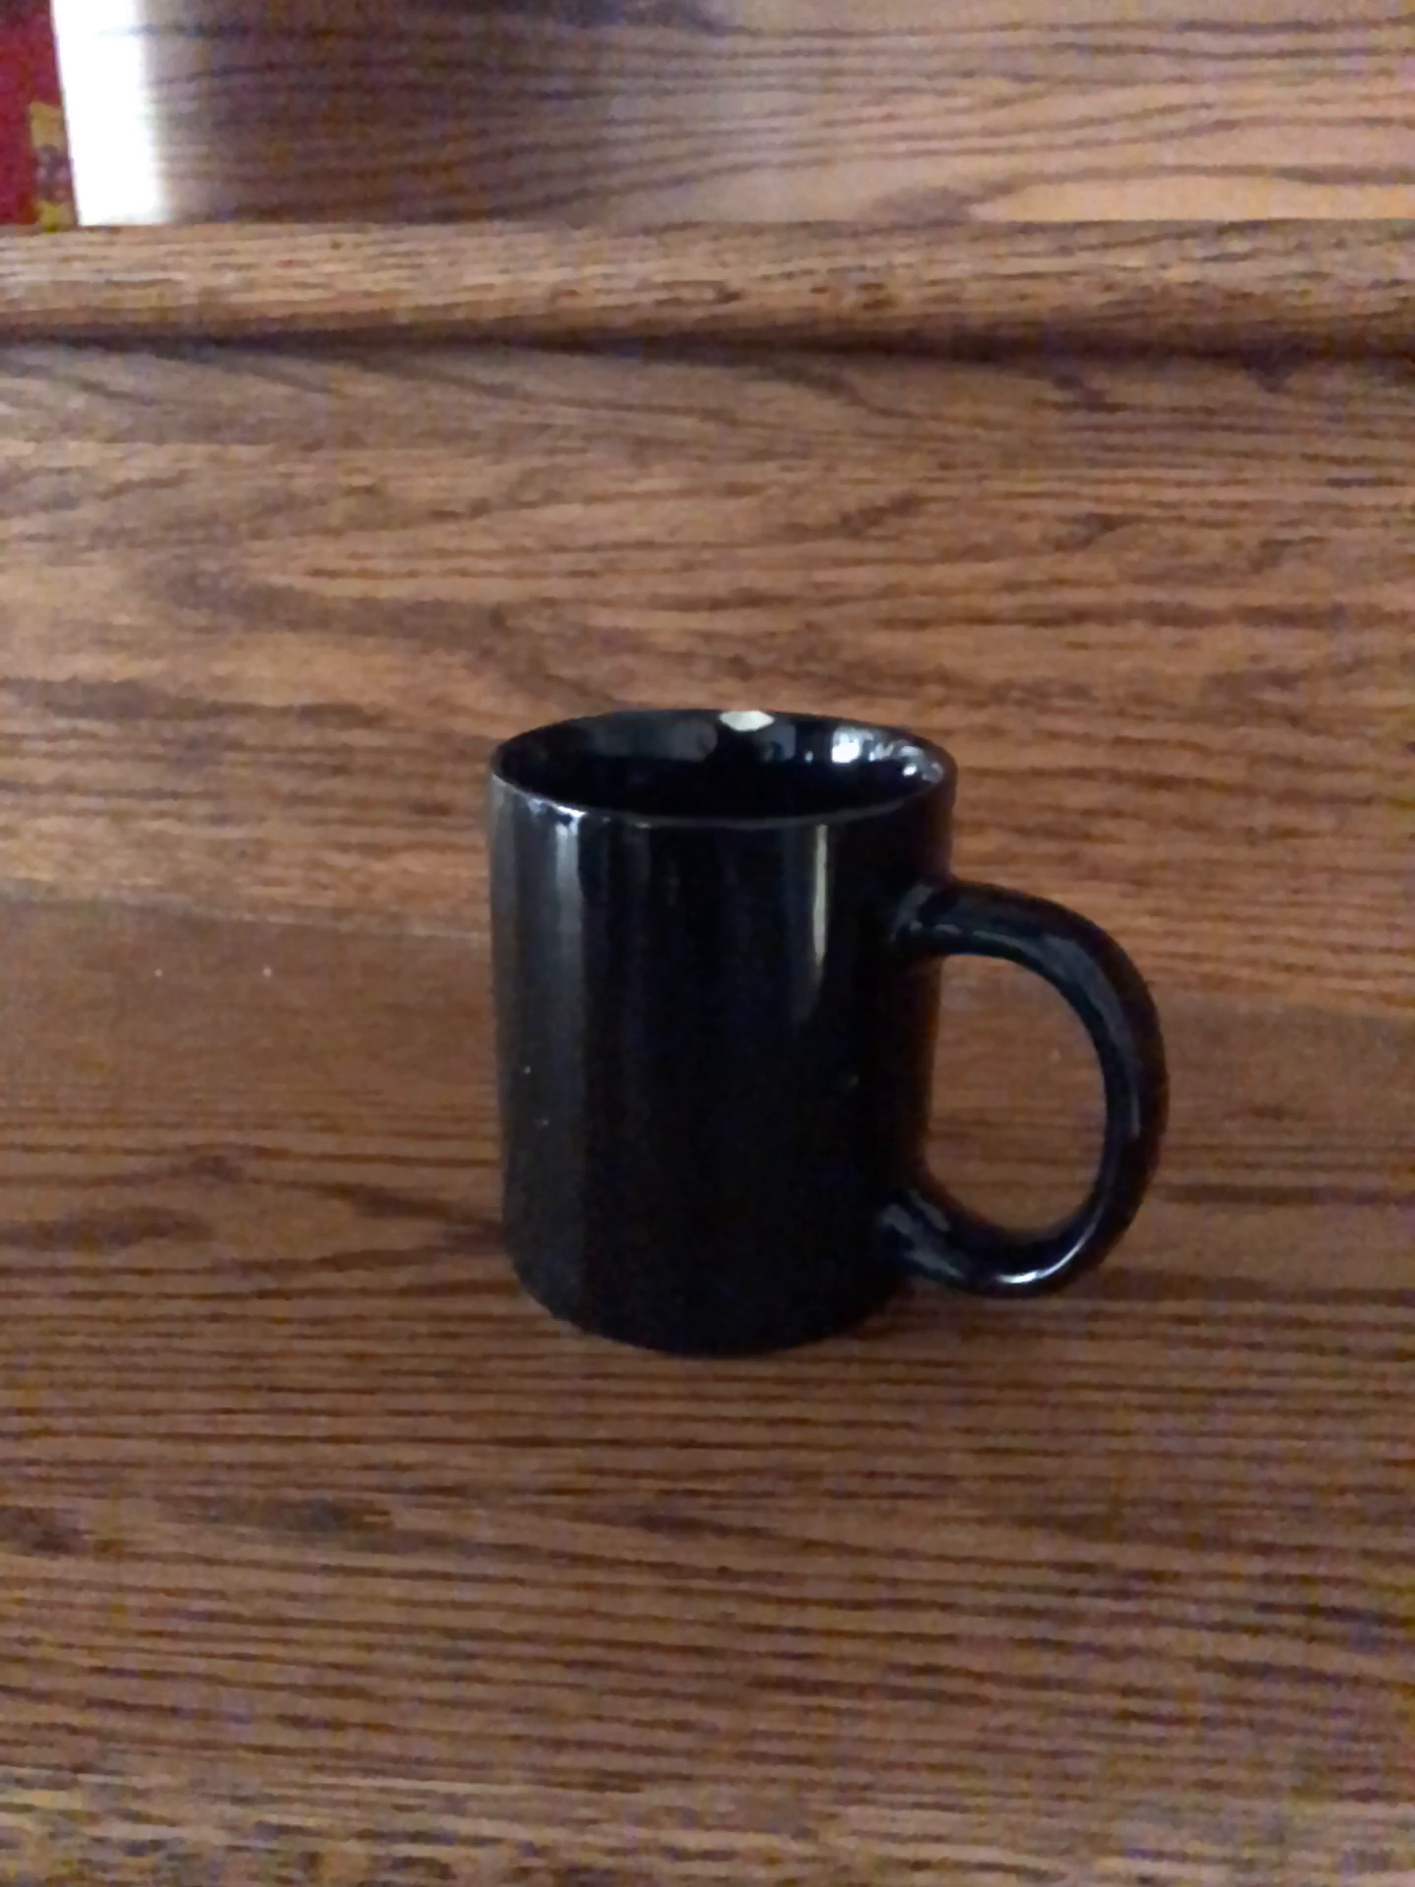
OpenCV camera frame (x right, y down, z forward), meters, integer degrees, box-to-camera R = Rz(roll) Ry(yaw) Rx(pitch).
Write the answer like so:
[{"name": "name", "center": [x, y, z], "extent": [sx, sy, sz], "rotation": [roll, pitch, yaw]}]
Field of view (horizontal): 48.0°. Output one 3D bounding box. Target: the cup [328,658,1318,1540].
[{"name": "cup", "center": [0.020, 0.013, 0.278], "extent": [0.136, 0.095, 0.092], "rotation": [13, 25, 27]}]
